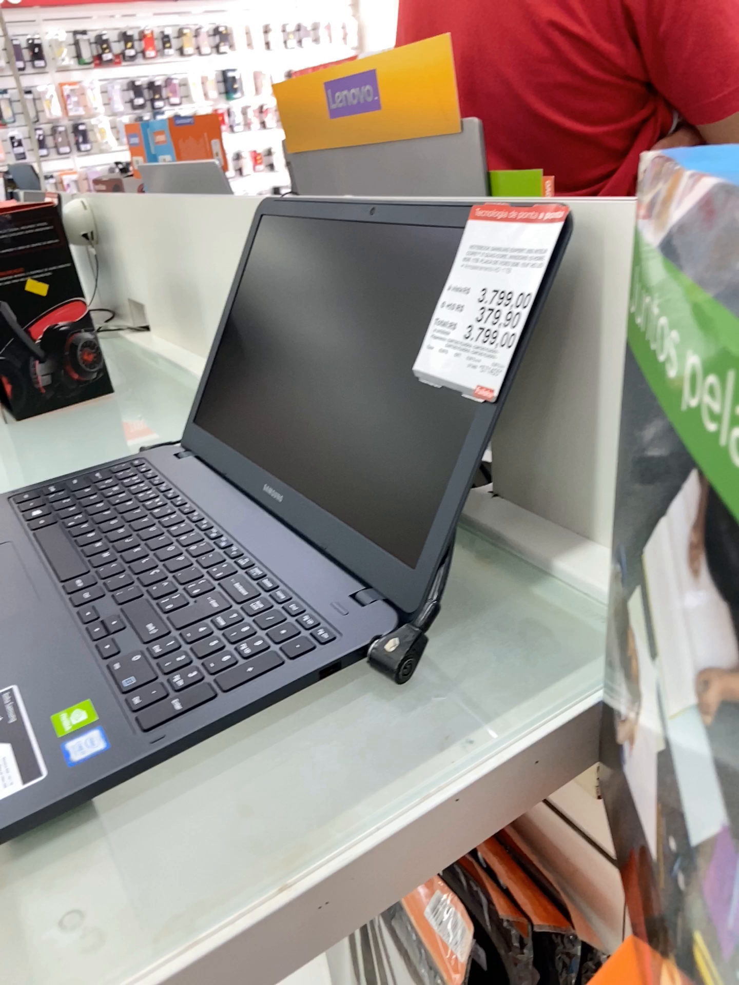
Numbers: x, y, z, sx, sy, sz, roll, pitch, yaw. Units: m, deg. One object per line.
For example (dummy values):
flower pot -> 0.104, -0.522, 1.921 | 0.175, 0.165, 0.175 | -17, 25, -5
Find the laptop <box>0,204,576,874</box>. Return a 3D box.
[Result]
laptop -> -0.140, -0.053, 0.485 | 0.369, 0.192, 0.372 | -21, 28, -26
